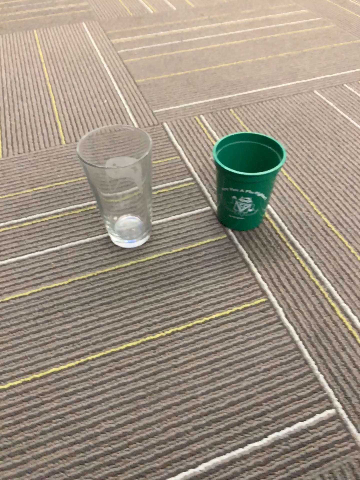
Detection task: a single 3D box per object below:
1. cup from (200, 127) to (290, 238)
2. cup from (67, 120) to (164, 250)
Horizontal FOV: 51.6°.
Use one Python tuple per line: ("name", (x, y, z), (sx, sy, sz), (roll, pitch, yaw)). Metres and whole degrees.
("cup", (0.089, -0.082, 0.522), (0.100, 0.099, 0.100), (-1, 48, 1))
("cup", (-0.072, -0.067, 0.477), (0.090, 0.139, 0.090), (-1, 48, 1))
